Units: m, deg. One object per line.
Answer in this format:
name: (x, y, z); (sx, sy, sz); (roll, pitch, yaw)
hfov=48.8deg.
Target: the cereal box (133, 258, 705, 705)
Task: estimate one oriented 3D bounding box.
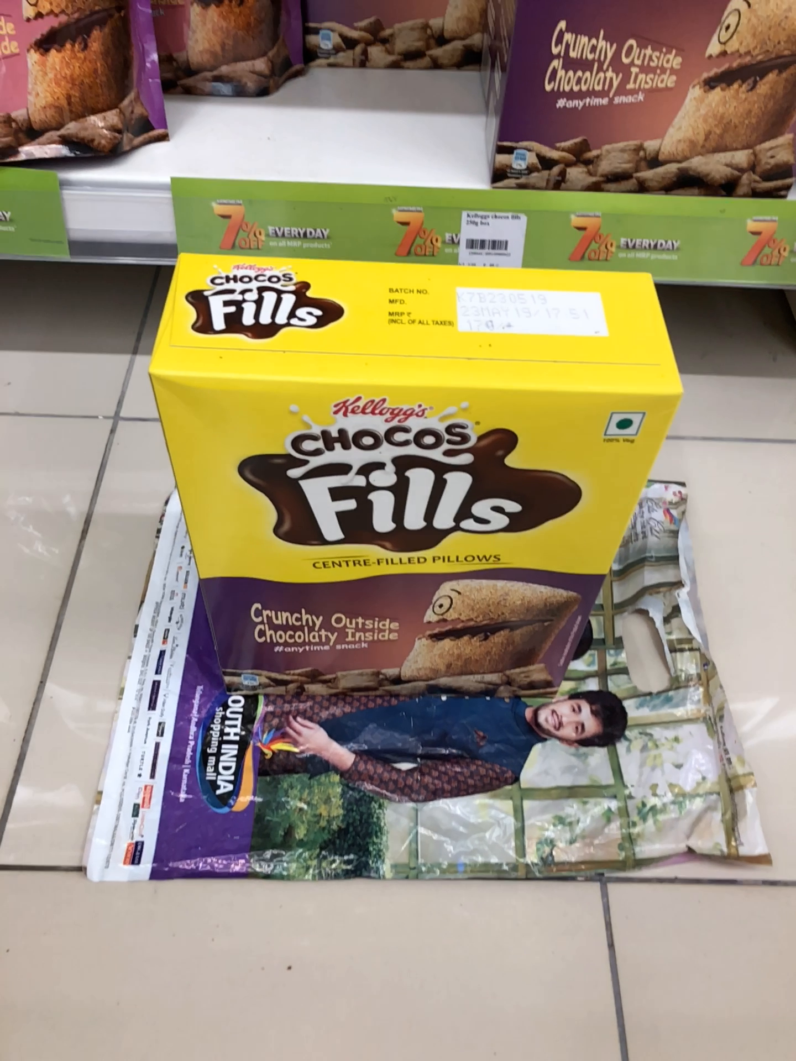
cereal box: (0.004, -0.004, 0.403); (0.190, 0.229, 0.070); (1, 53, -2)
